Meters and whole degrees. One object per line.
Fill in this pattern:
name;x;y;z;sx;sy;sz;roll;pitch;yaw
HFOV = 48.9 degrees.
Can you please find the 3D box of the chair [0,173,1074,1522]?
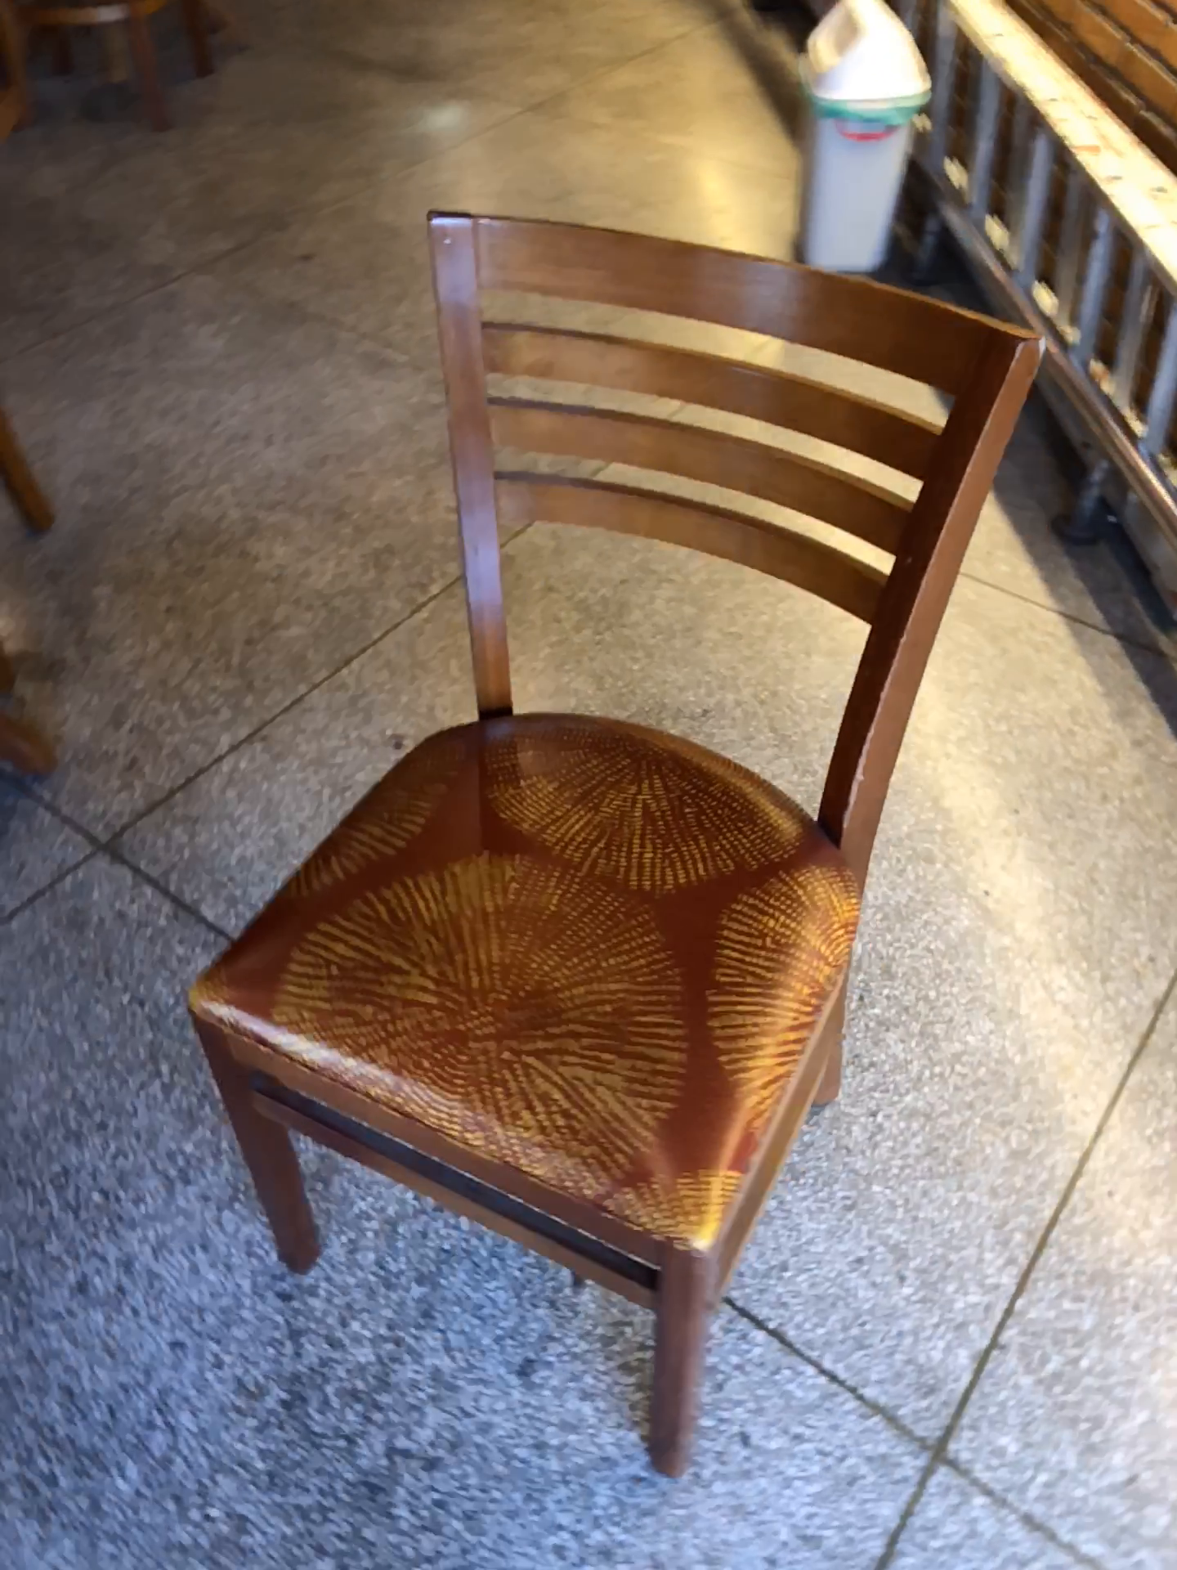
chair;-0.014;0.088;0.988;0.451;0.844;0.473;19;48;18
